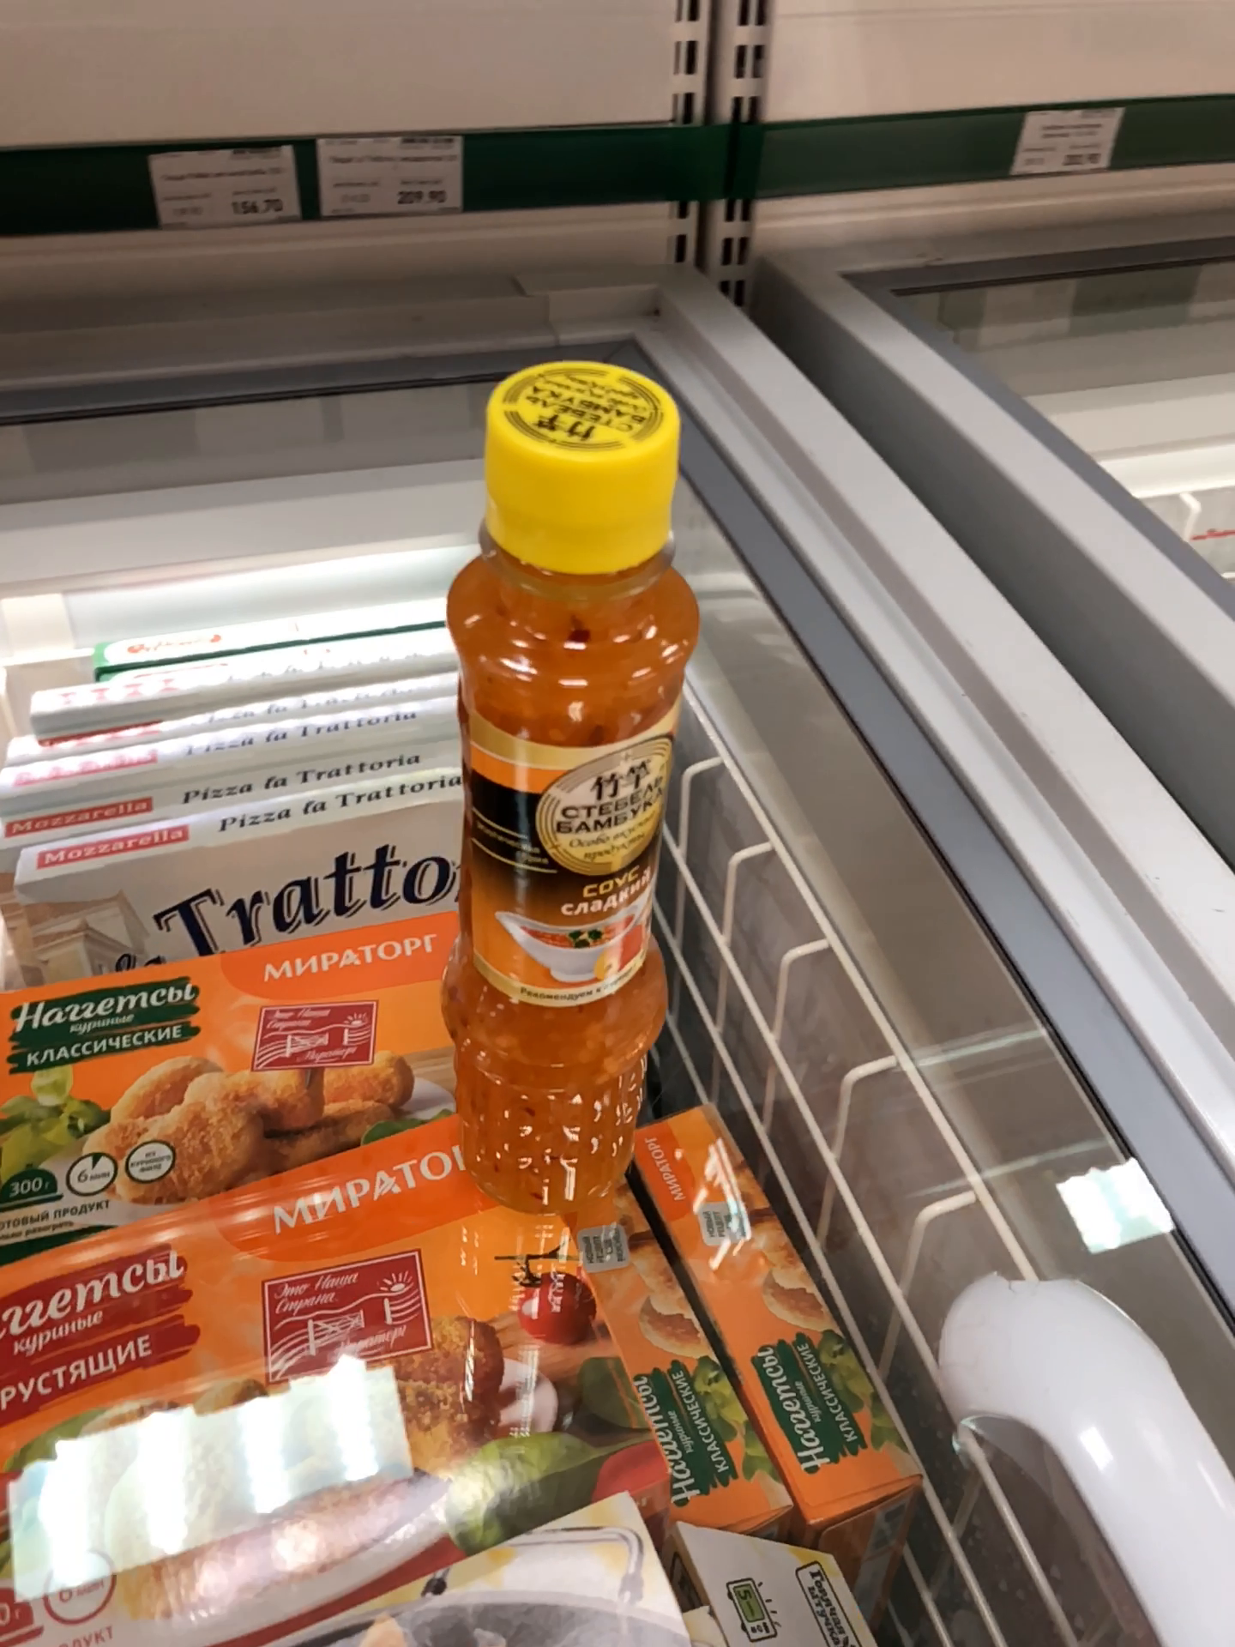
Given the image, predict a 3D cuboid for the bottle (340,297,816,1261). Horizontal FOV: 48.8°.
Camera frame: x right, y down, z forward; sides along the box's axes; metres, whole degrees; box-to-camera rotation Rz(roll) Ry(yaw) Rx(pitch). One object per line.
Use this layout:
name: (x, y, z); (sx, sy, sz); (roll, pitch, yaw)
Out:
bottle: (-0.011, 0.008, 0.274); (0.051, 0.201, 0.049); (2, 46, -2)
